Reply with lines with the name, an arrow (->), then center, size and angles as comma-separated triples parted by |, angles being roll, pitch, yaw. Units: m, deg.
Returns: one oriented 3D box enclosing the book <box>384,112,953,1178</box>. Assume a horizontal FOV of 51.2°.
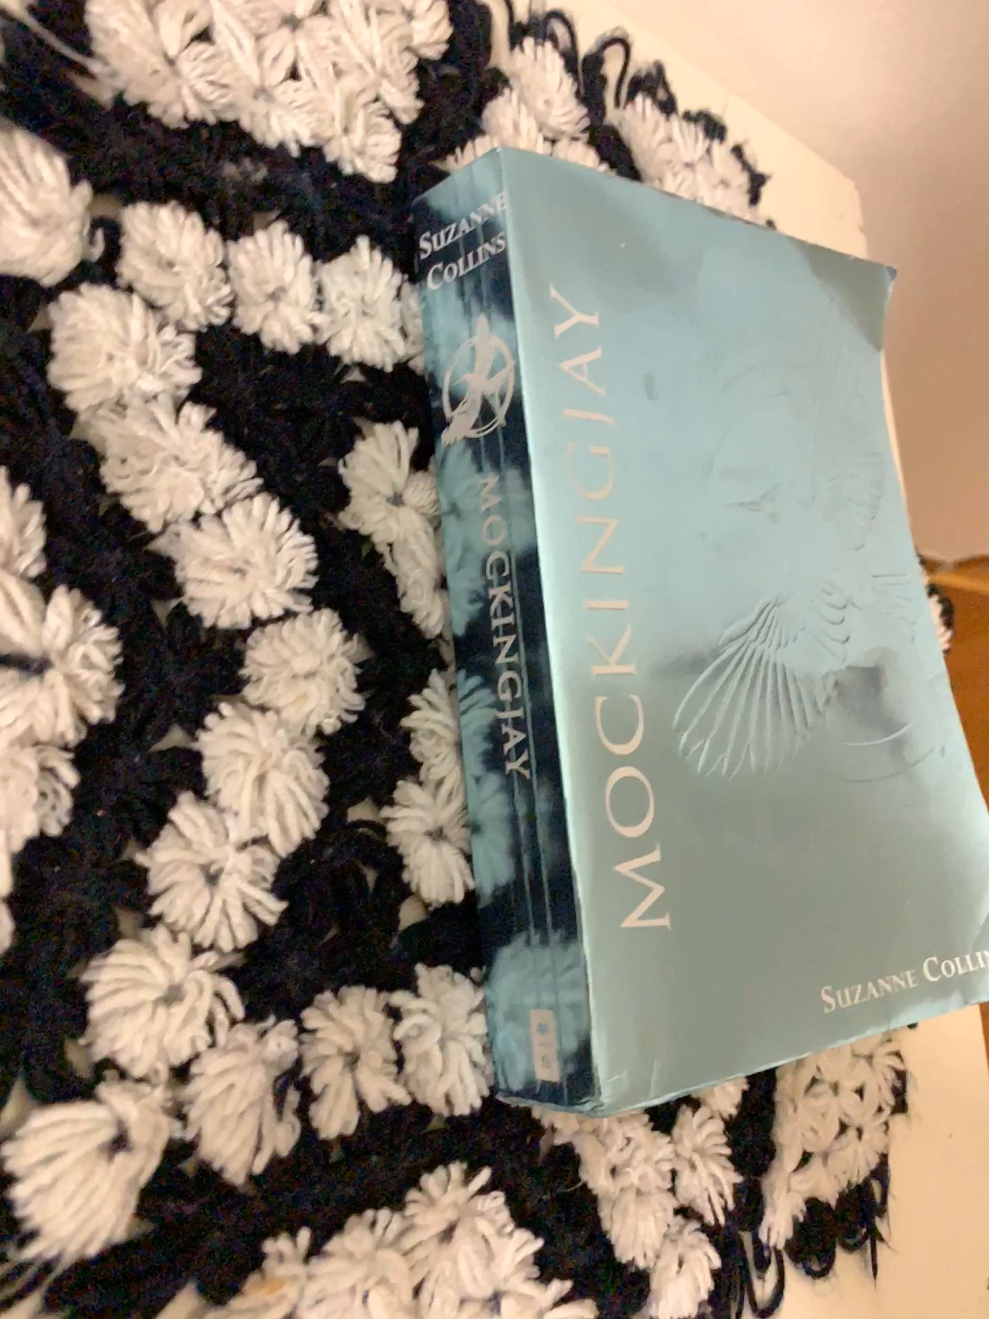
book -> 0.047, -0.005, 0.244 | 0.137, 0.036, 0.193 | 1, 80, -44
